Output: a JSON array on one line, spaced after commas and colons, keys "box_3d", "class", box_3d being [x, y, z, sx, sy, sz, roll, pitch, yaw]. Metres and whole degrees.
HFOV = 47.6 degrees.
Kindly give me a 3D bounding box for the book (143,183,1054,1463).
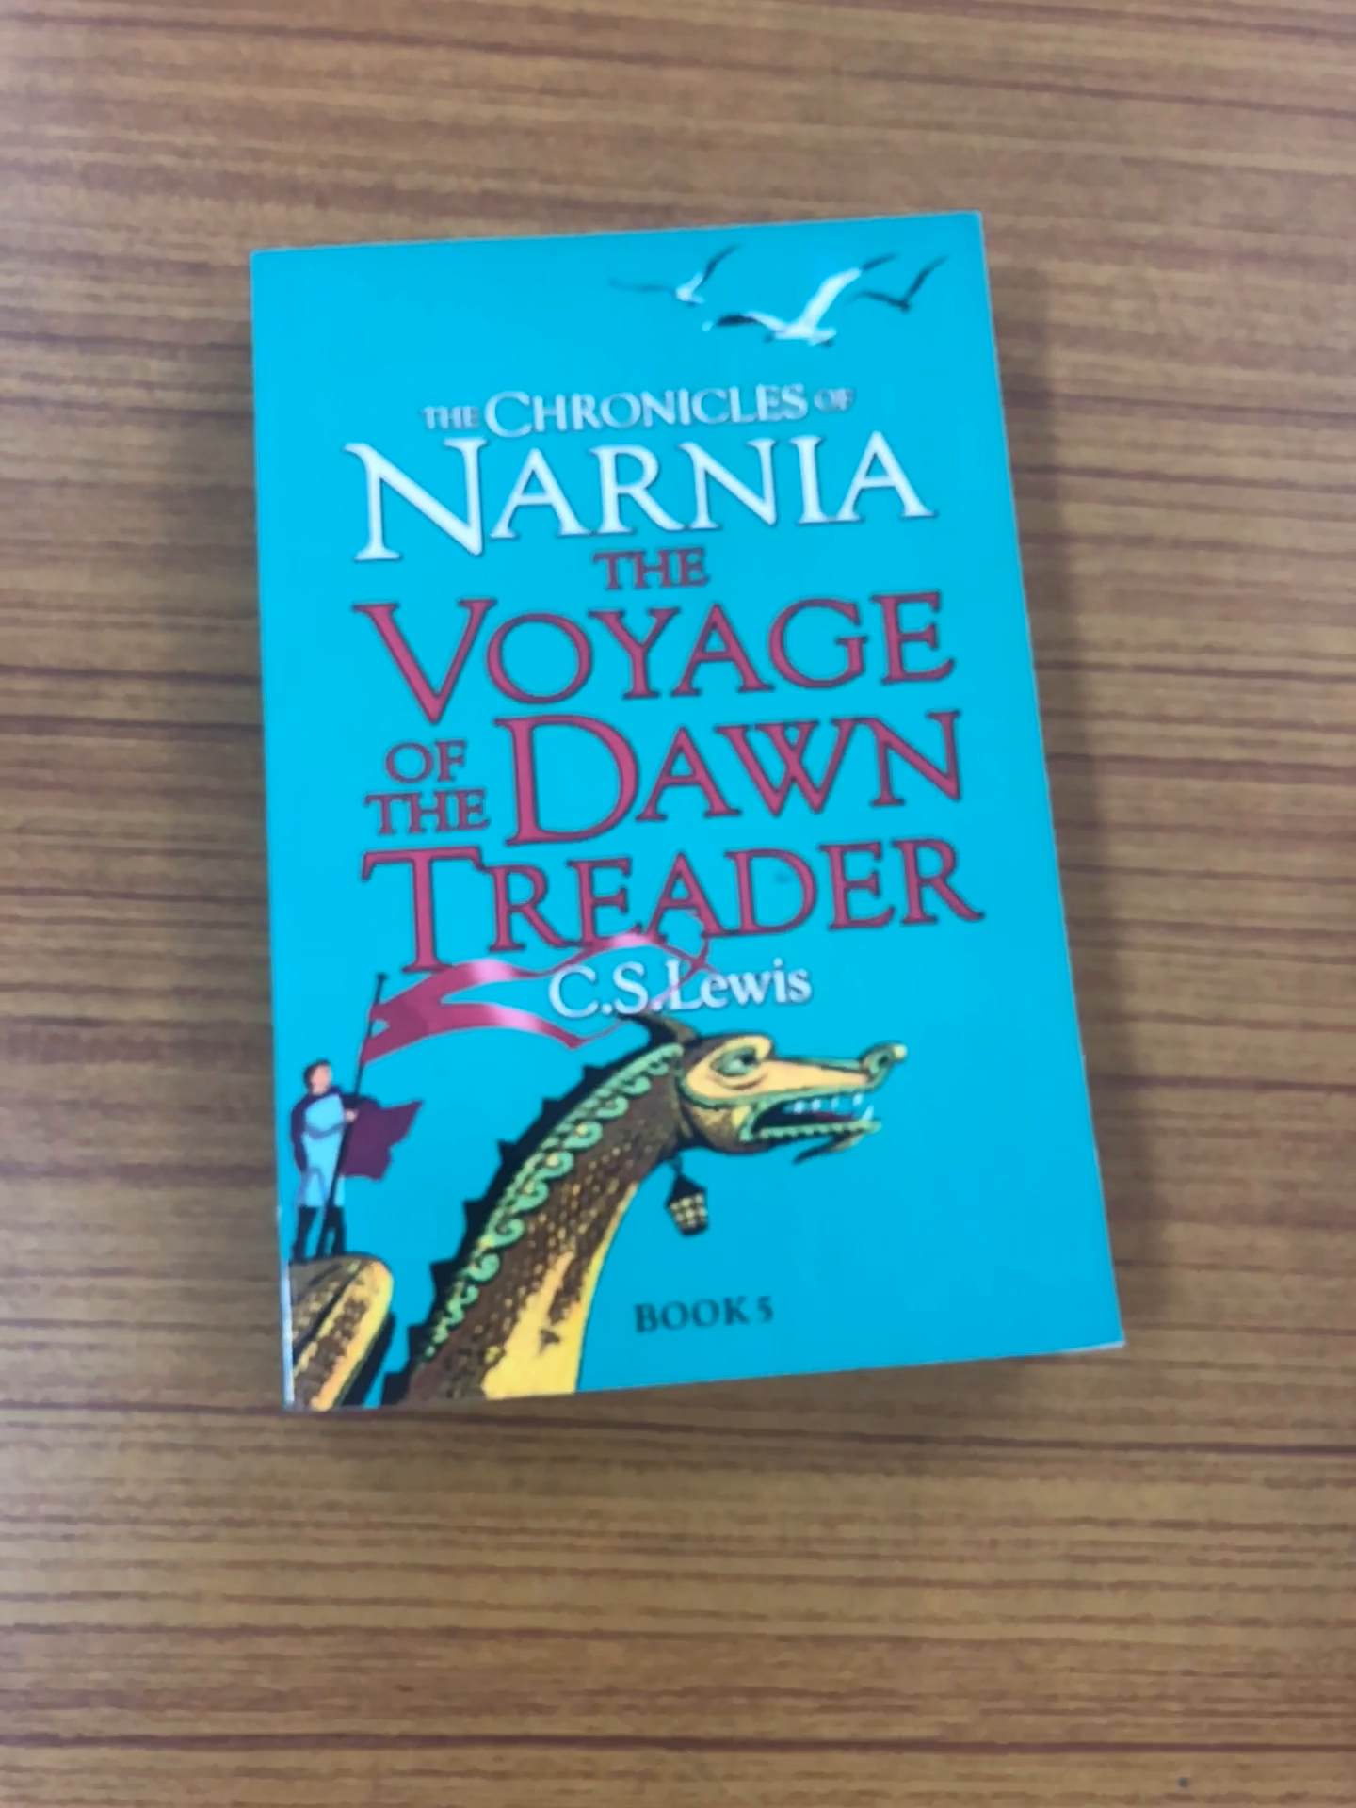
[{"box_3d": [-0.017, -0.019, 0.259, 0.130, 0.030, 0.200, -4, 80, -4], "class": "book"}]
